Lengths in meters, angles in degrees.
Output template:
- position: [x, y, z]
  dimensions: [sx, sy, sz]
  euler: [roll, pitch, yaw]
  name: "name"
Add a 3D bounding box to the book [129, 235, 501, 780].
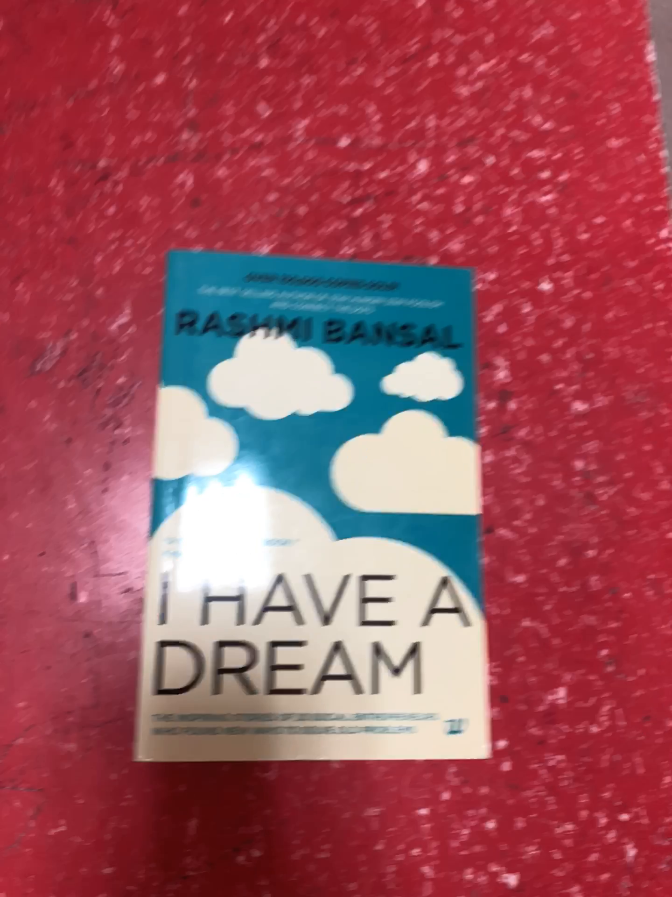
- position: [-0.007, 0.019, 0.298]
  dimensions: [0.130, 0.030, 0.200]
  euler: [1, 78, -7]
  name: "book"
